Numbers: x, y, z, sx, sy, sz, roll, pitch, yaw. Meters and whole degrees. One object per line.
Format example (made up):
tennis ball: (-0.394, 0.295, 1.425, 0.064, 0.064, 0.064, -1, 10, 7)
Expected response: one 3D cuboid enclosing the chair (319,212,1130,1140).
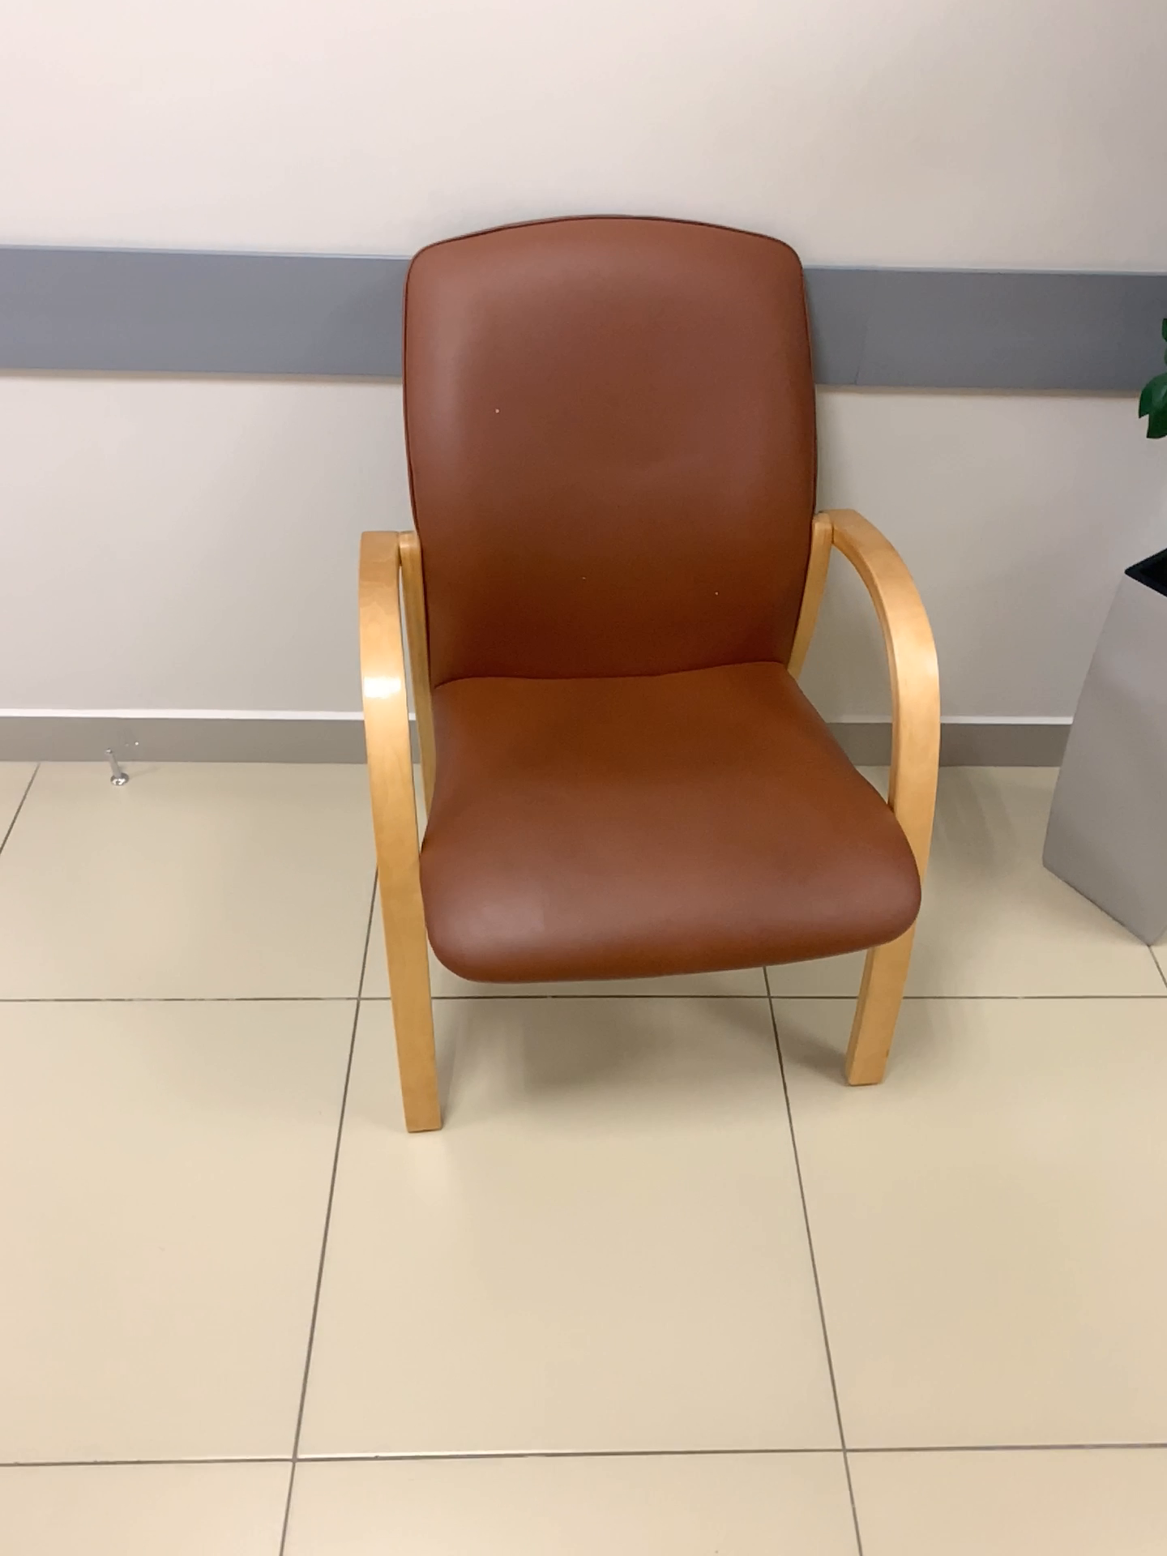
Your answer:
chair: (0.075, -0.097, 1.520, 0.670, 0.985, 0.603, -3, 44, -6)
